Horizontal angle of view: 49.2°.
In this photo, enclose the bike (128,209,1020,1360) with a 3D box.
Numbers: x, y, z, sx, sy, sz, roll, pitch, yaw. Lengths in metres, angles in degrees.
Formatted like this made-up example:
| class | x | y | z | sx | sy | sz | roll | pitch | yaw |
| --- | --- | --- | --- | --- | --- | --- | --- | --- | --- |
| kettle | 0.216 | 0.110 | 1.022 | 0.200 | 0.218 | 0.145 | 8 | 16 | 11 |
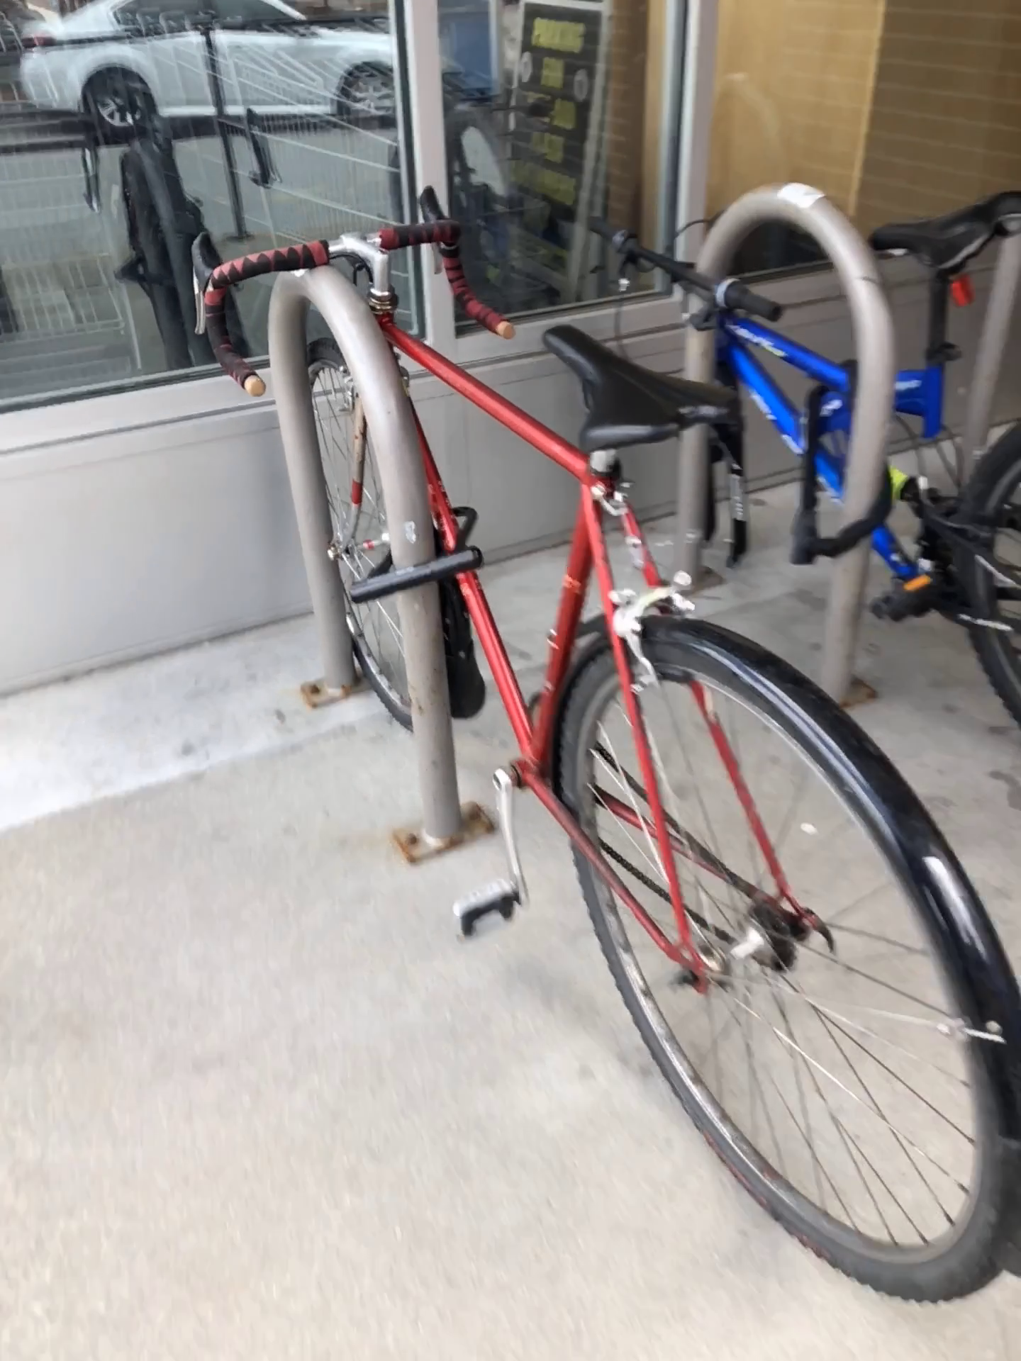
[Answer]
| class | x | y | z | sx | sy | sz | roll | pitch | yaw |
| --- | --- | --- | --- | --- | --- | --- | --- | --- | --- |
| bike | -0.011 | -0.002 | 1.511 | 0.459 | 0.785 | 1.701 | -18 | 39 | -22 |
